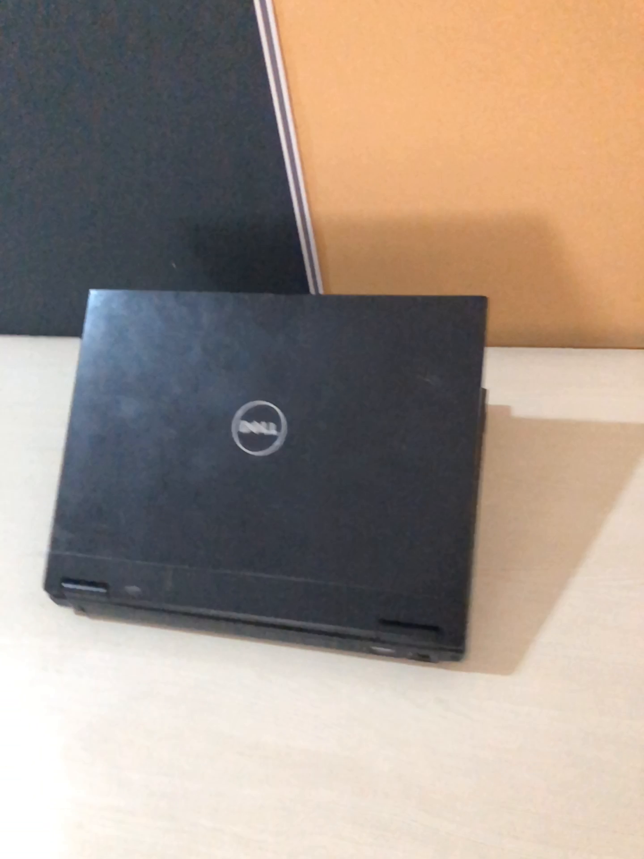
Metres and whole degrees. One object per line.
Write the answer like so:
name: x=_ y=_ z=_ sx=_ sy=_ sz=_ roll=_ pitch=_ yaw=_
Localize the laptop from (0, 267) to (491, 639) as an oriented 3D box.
laptop: x=-0.038 y=0.003 z=0.524 sx=0.302 sy=0.126 sz=0.226 roll=3 pitch=49 yaw=15
